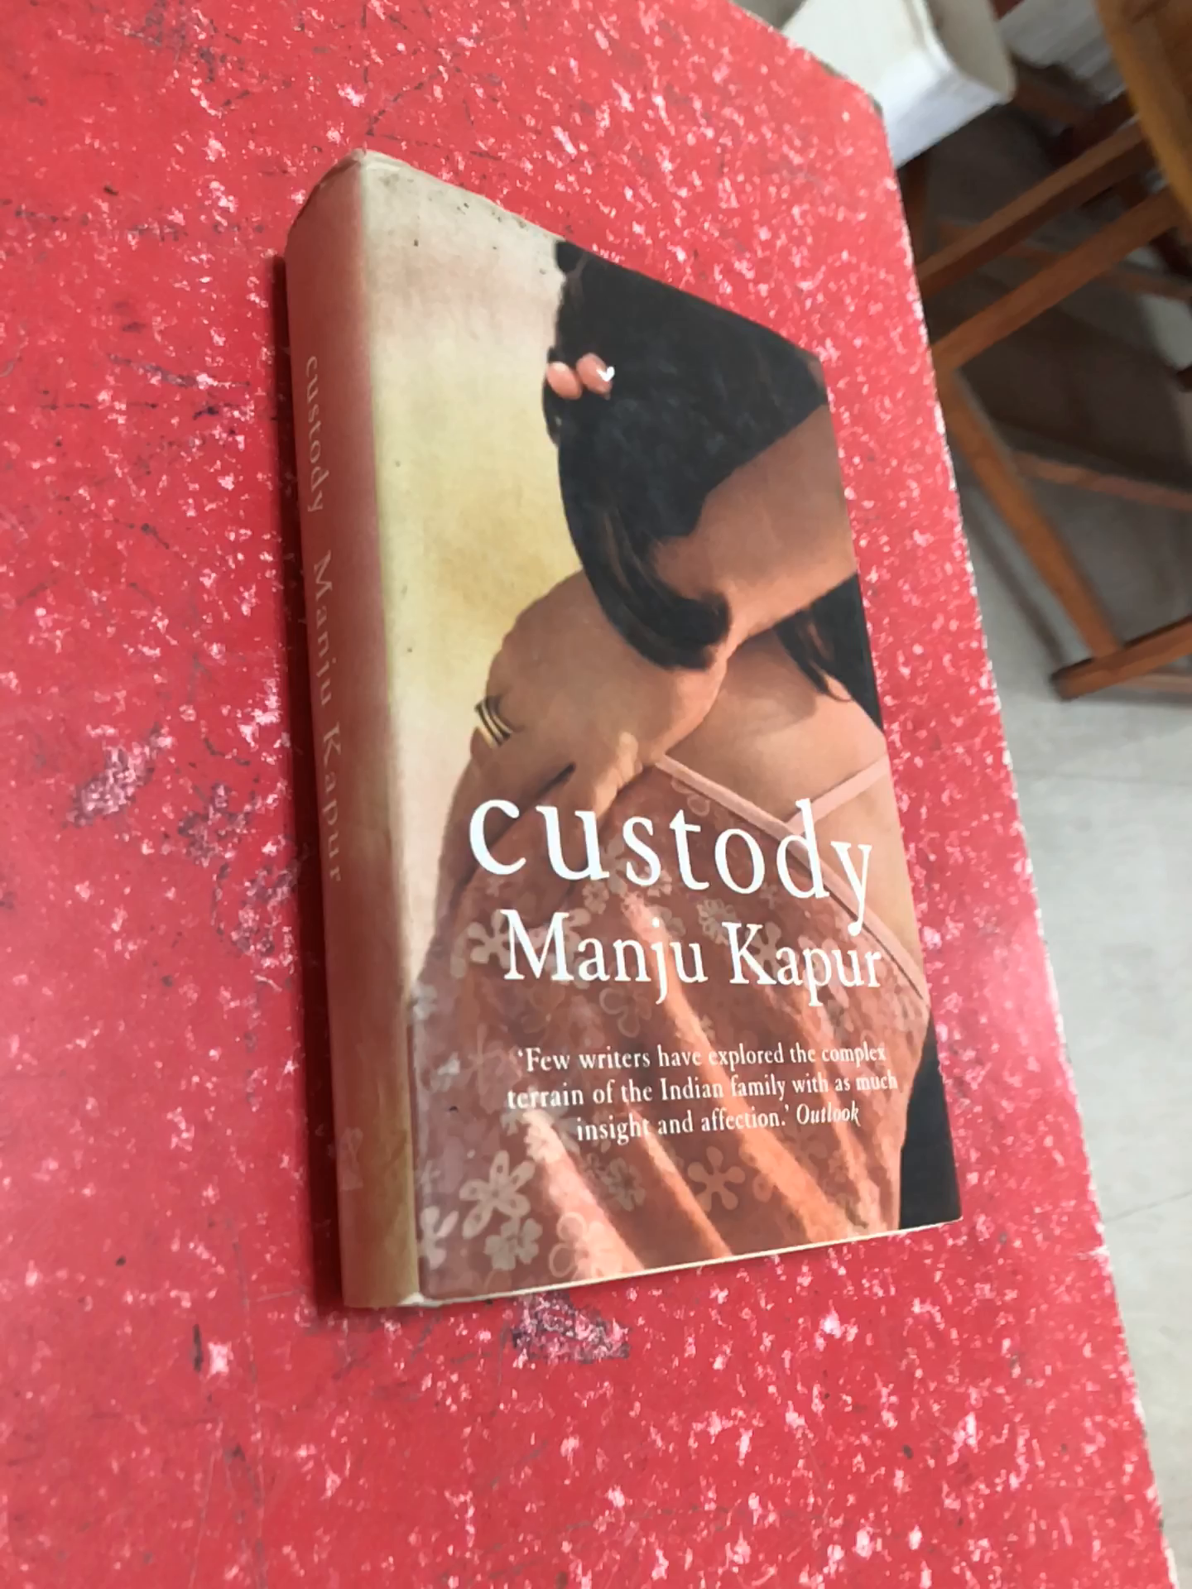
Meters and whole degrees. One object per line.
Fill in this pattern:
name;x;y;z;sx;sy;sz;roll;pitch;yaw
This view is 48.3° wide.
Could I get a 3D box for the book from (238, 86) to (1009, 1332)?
book;0.005;-0.017;0.277;0.141;0.040;0.220;6;69;-39
